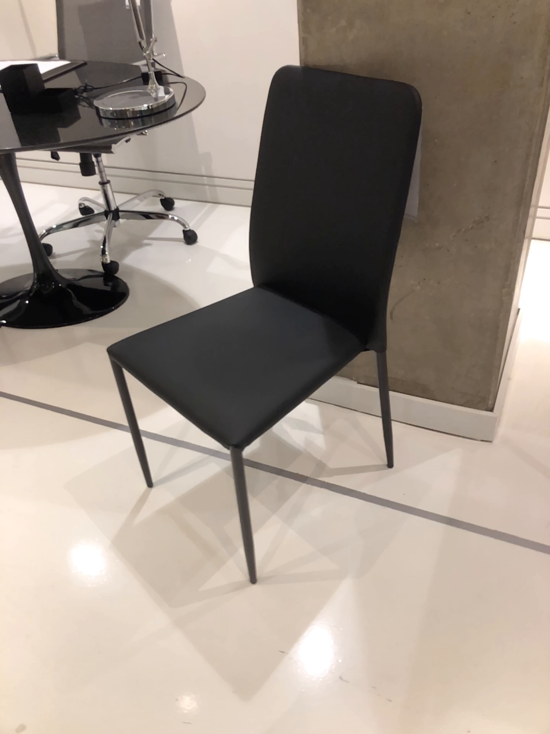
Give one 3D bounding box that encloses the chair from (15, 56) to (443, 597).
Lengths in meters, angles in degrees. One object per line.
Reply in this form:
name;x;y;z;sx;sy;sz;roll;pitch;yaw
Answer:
chair;-0.046;-0.091;1.272;0.542;0.883;0.472;-31;44;-29
